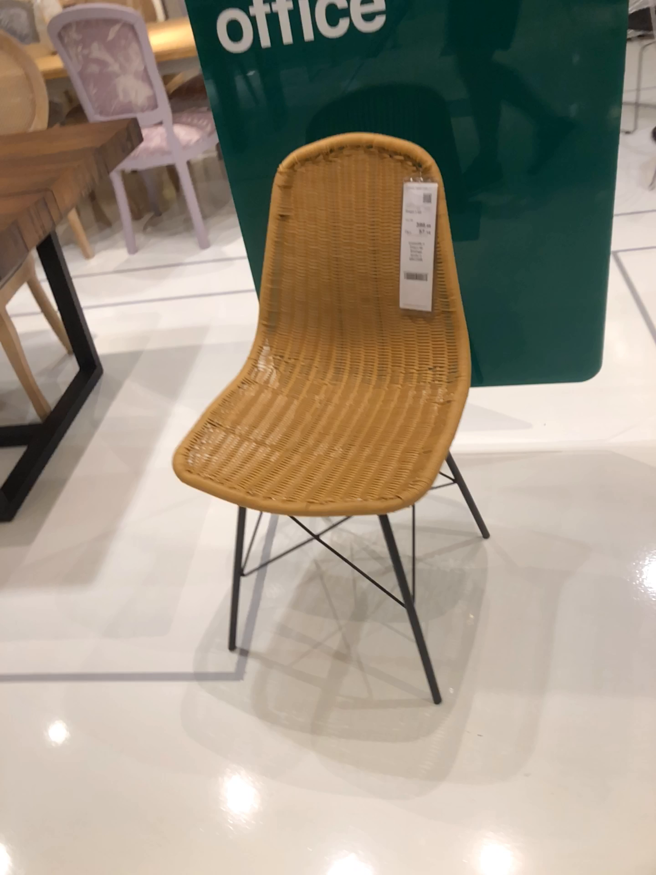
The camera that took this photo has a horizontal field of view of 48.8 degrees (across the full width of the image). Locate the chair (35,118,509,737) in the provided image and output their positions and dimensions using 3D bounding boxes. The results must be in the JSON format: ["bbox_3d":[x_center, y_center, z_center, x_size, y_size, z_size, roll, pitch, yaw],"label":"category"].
[{"bbox_3d":[0.018,-0.021,1.300,0.491,0.863,0.574,7,40,23],"label":"chair"}]
